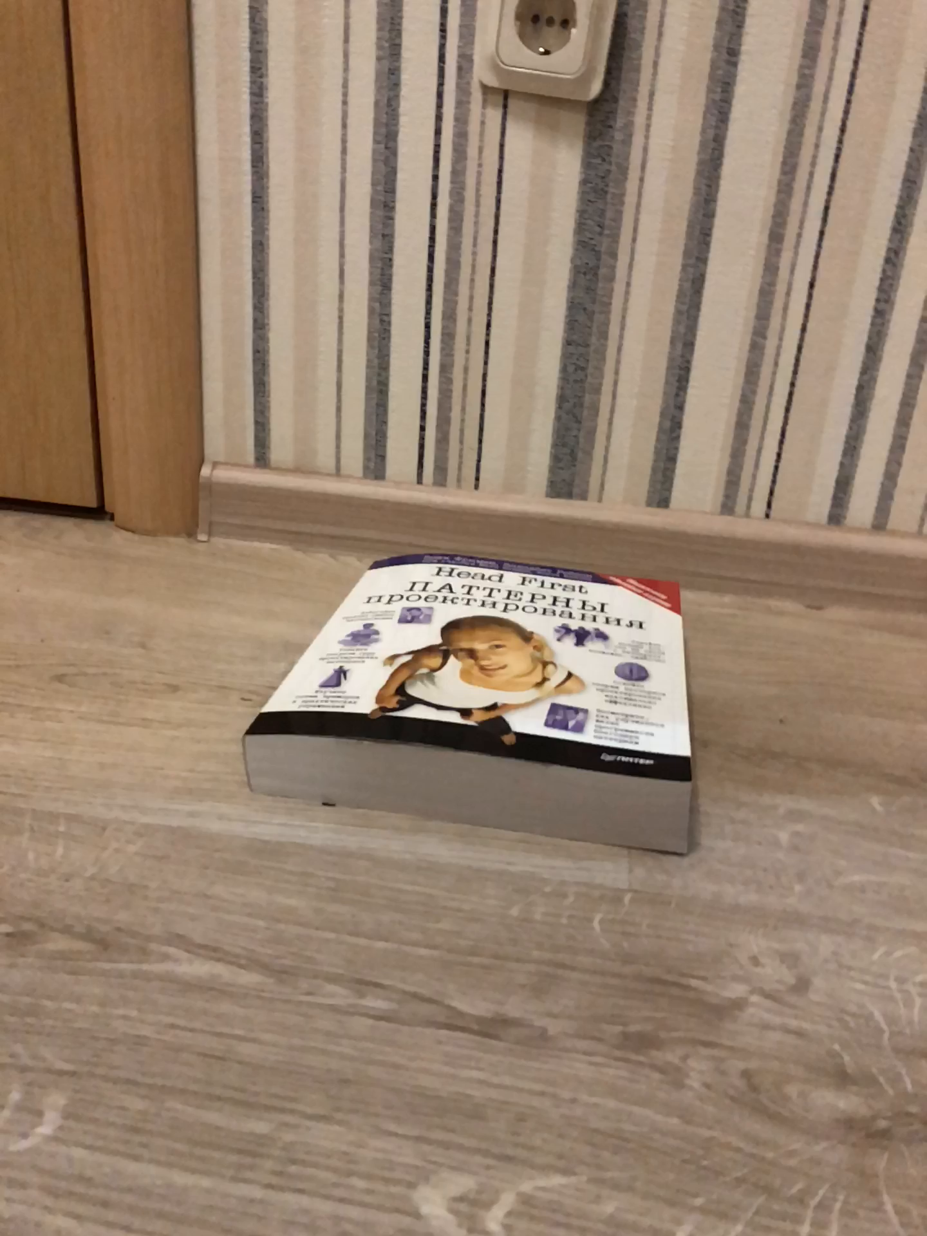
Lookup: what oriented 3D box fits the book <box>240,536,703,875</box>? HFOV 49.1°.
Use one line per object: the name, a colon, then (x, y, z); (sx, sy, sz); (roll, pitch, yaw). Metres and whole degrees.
book: (0.018, 0.030, 0.563); (0.206, 0.049, 0.241); (8, 25, 7)
